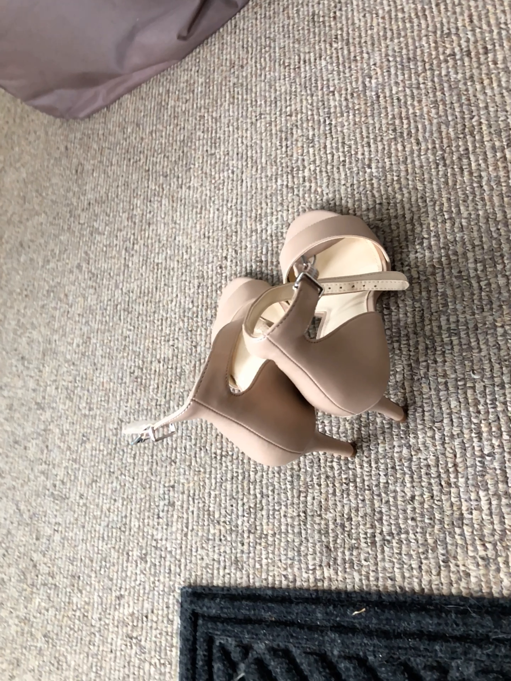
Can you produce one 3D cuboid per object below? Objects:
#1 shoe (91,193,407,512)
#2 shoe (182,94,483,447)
[{"bbox_3d":[-0.010,0.011,0.446,0.105,0.144,0.207,-45,53,13],"label":"shoe"},{"bbox_3d":[0.055,-0.046,0.430,0.099,0.154,0.207,-34,56,21],"label":"shoe"}]
